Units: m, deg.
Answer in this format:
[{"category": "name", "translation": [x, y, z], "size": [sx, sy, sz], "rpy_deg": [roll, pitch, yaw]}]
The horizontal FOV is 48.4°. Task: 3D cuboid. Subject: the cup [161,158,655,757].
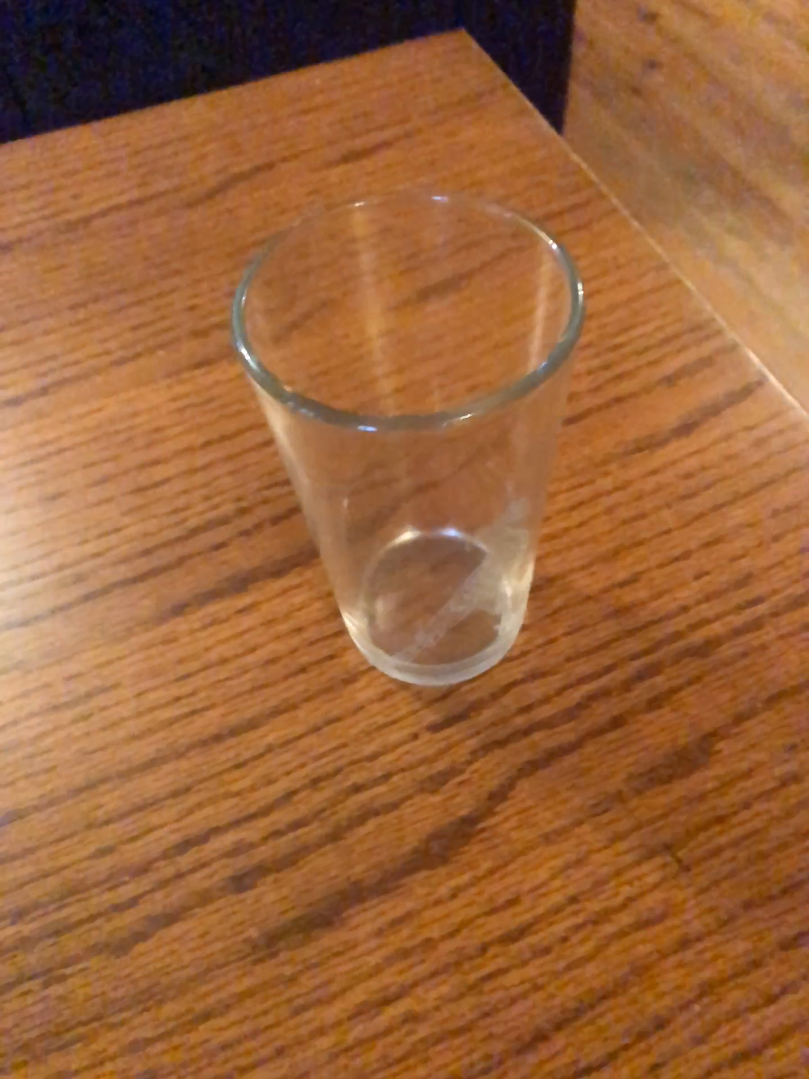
[{"category": "cup", "translation": [0.003, -0.018, 0.284], "size": [0.092, 0.144, 0.090], "rpy_deg": [-2, 54, 3]}]
